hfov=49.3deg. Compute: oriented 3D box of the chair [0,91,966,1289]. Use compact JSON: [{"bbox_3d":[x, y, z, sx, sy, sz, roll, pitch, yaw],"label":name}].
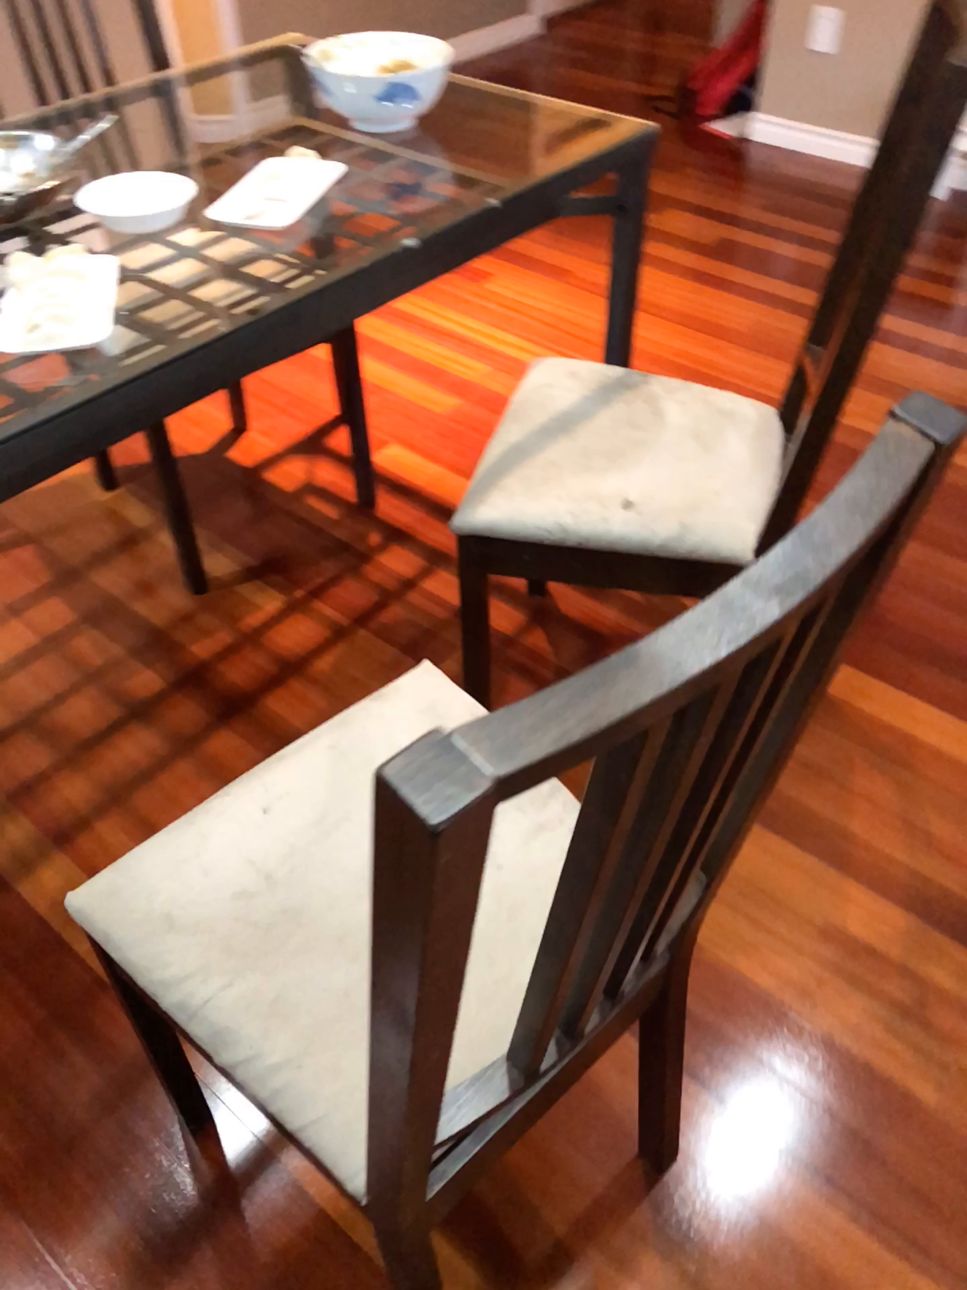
[{"bbox_3d":[-0.045,0.205,0.906,0.491,1.053,0.512,-33,52,-29],"label":"chair"}]
